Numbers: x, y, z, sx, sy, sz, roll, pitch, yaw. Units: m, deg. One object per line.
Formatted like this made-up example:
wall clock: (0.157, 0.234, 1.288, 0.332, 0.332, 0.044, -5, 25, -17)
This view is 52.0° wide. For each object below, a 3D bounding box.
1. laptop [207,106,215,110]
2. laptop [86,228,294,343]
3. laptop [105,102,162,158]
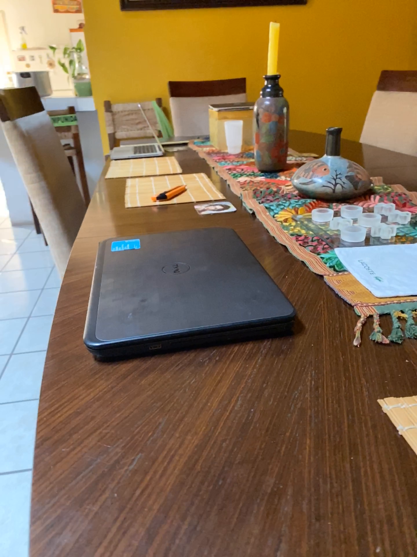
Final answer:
laptop: (0.009, -0.755, 1.898, 0.002, 0.003, 0.281, -32, 24, 6)
laptop: (-0.051, -0.013, 0.663, 0.248, 0.001, 0.354, -7, 25, -9)
laptop: (-0.334, -0.676, 1.925, 0.216, 0.194, 0.320, -7, 24, -5)
